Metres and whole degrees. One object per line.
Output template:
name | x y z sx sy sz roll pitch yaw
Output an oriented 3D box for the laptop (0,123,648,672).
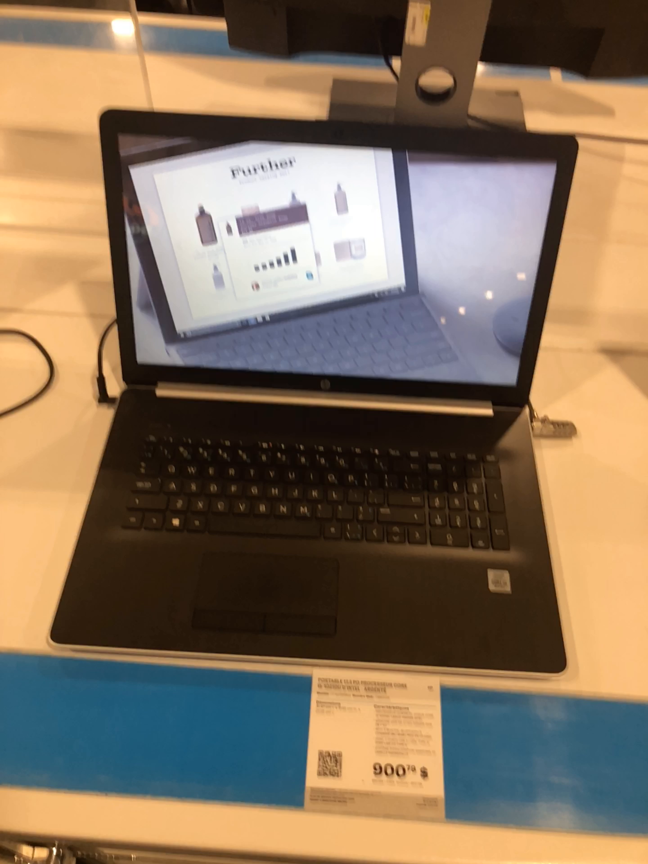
laptop | -0.003 -0.041 0.601 0.410 0.242 0.382 3 51 1
